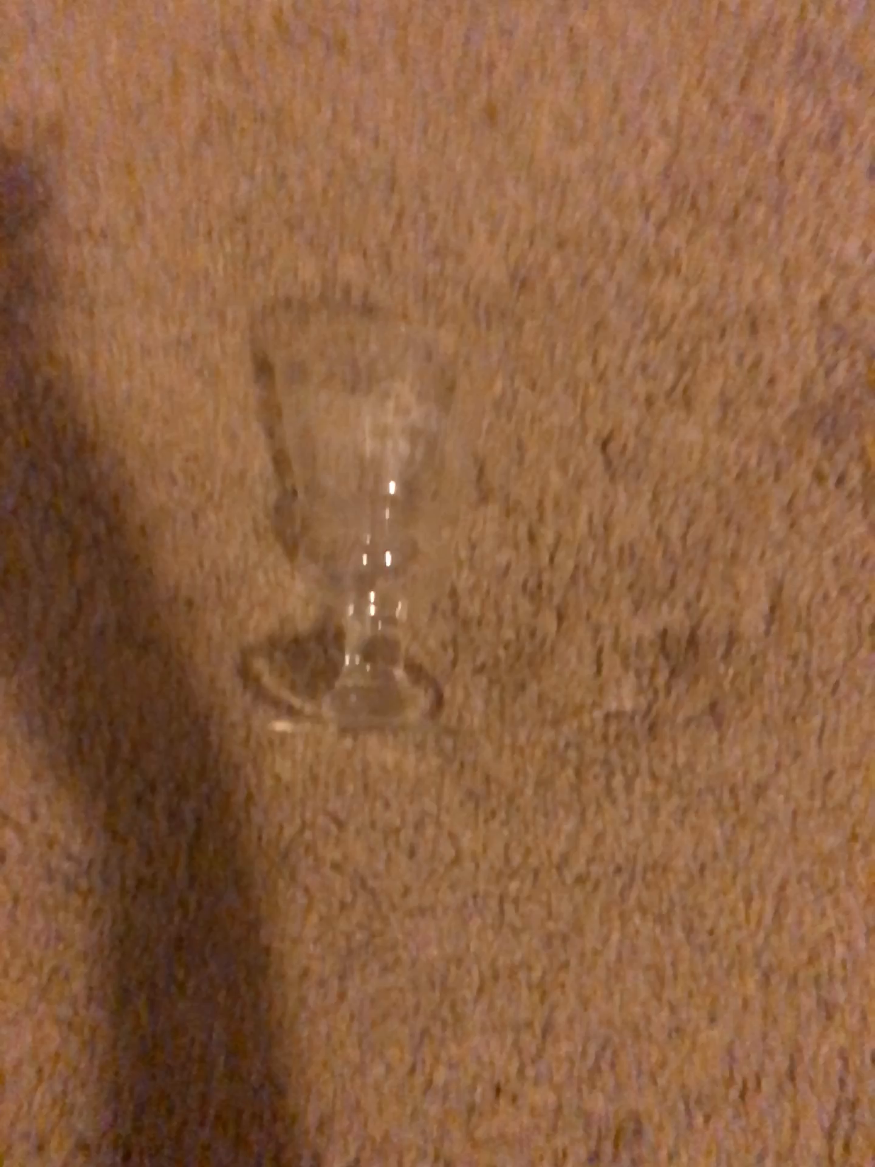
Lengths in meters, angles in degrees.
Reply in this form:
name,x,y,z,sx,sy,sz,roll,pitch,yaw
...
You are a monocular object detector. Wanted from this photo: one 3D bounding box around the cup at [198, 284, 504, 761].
name,x,y,z,sx,sy,sz,roll,pitch,yaw
cup,-0.027,-0.016,0.354,0.094,0.078,0.158,0,79,-1
